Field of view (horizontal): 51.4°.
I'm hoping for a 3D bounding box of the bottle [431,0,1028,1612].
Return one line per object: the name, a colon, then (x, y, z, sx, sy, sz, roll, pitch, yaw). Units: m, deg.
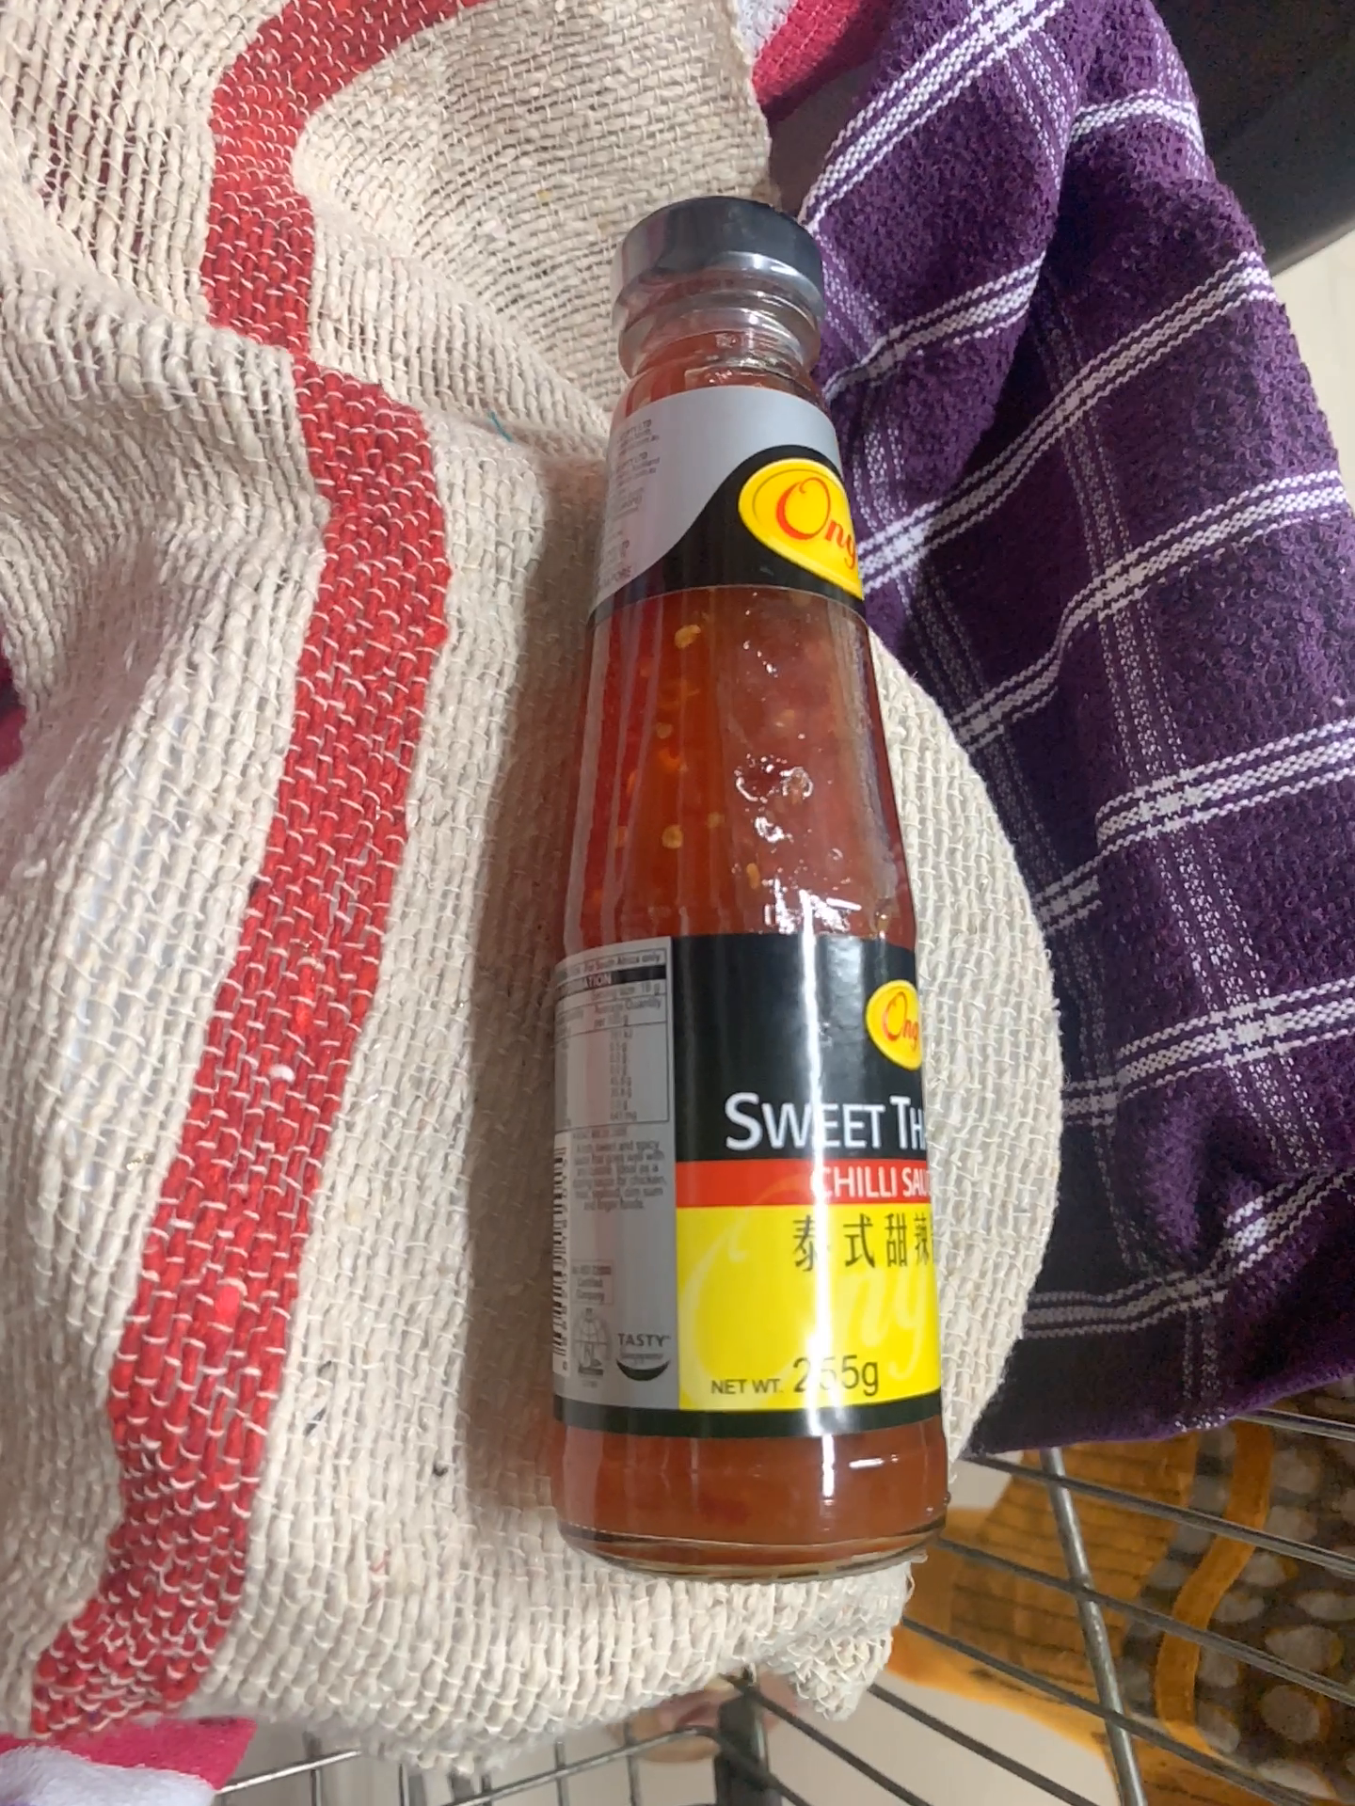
bottle: (0.011, -0.016, 0.195, 0.060, 0.050, 0.190, 17, 70, -53)
